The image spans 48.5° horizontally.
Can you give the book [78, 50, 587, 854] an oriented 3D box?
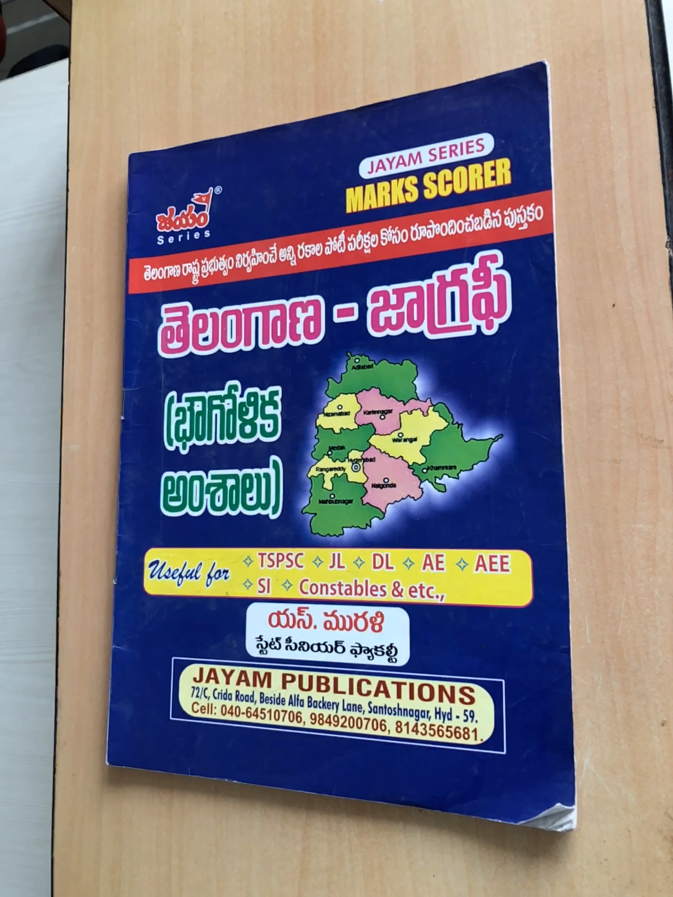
[{"bbox_3d":[-0.006,-0.003,0.313,0.200,0.040,0.280,-2,82,21],"label":"book"}]
